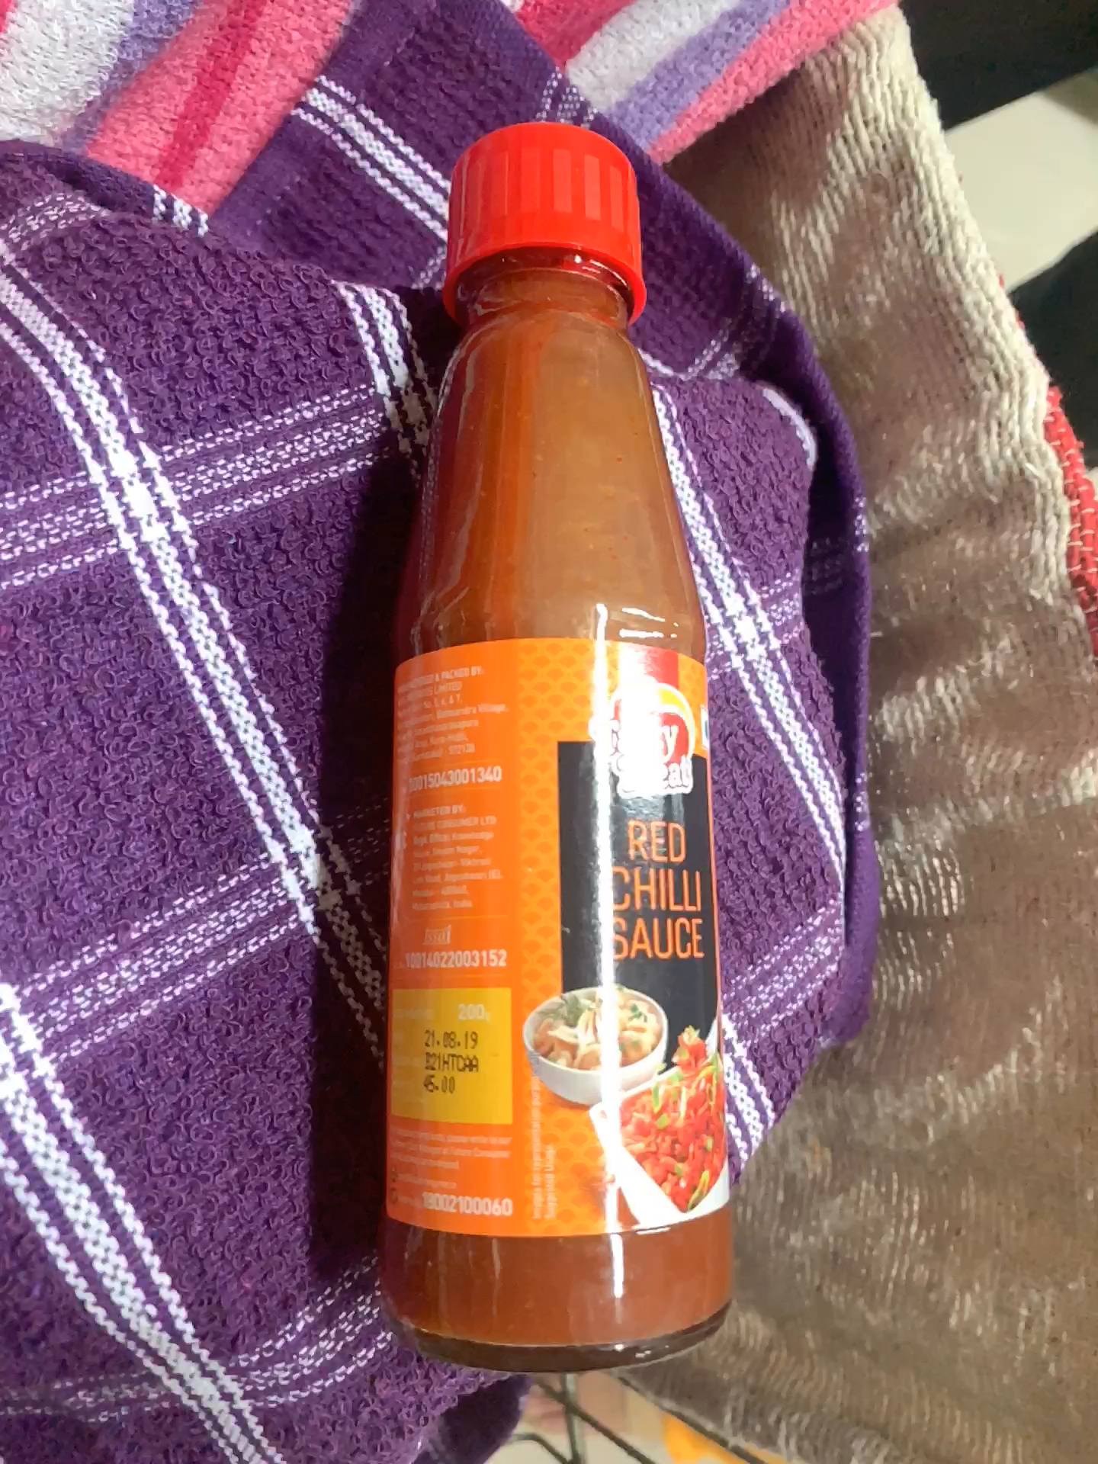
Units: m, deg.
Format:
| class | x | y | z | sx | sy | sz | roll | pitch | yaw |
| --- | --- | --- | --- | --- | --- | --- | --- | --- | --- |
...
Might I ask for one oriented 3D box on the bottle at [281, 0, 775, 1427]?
| class | x | y | z | sx | sy | sz | roll | pitch | yaw |
| --- | --- | --- | --- | --- | --- | --- | --- | --- | --- |
| bottle | -0.004 | -0.014 | 0.159 | 0.050 | 0.040 | 0.180 | 4 | 81 | -30 |
